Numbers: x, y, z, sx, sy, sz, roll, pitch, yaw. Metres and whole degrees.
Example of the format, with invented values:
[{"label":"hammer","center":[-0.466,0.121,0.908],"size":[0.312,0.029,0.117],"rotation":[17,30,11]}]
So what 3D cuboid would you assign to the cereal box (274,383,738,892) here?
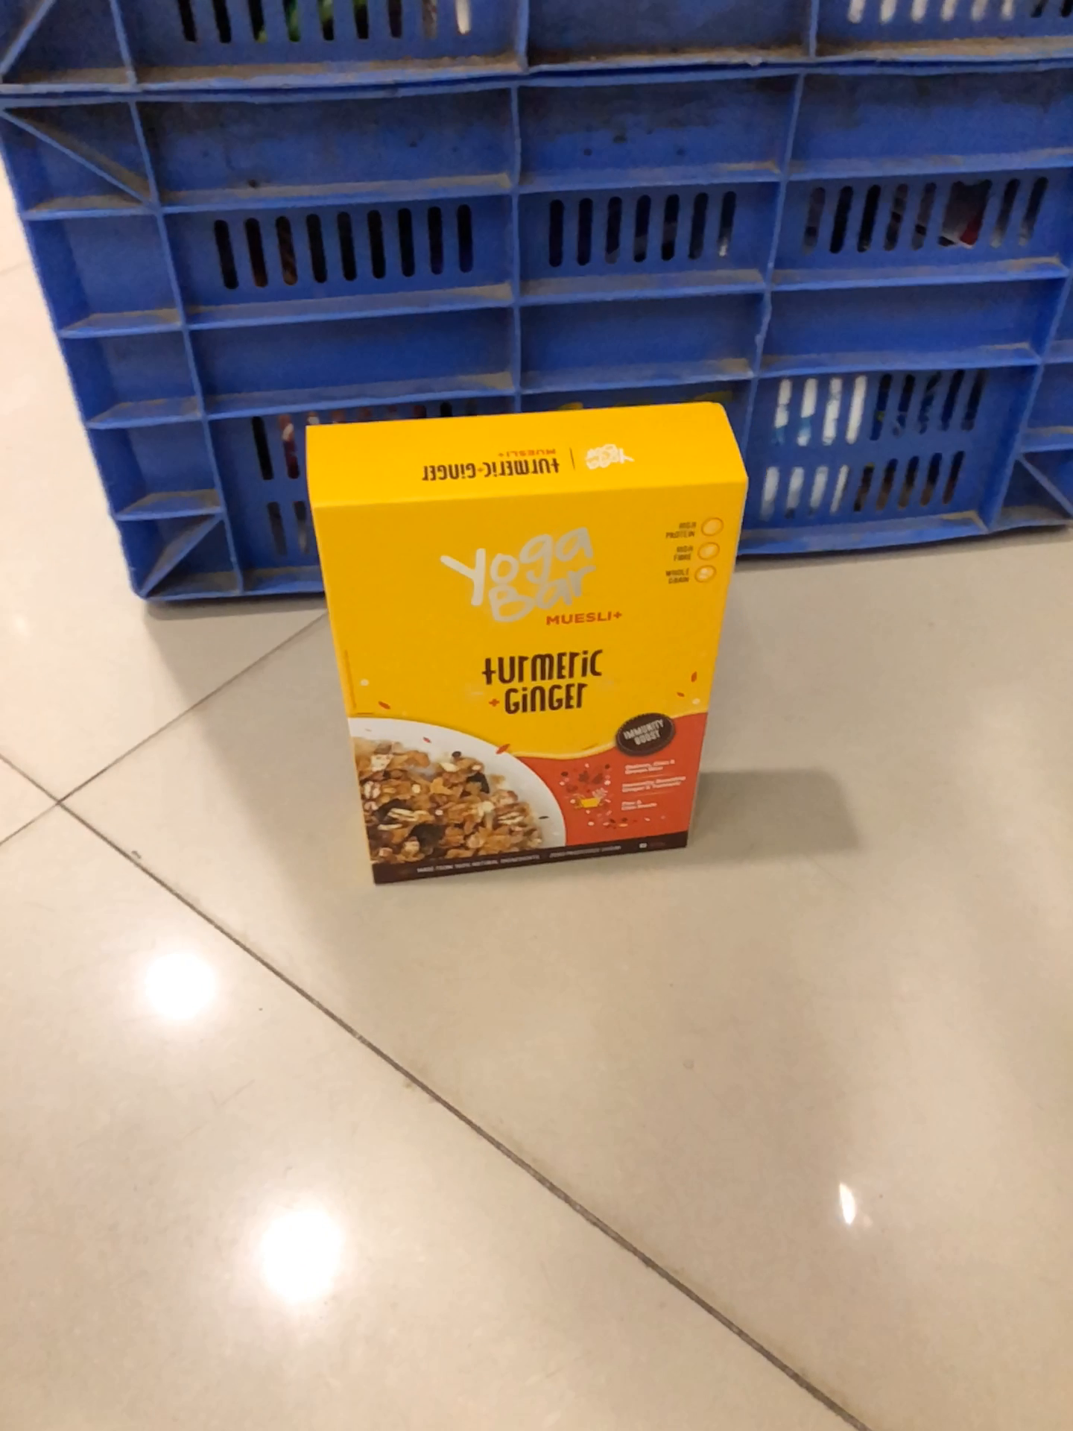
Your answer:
[{"label":"cereal box","center":[-0.012,-0.024,0.532],"size":[0.170,0.228,0.060],"rotation":[-6,45,-5]}]
